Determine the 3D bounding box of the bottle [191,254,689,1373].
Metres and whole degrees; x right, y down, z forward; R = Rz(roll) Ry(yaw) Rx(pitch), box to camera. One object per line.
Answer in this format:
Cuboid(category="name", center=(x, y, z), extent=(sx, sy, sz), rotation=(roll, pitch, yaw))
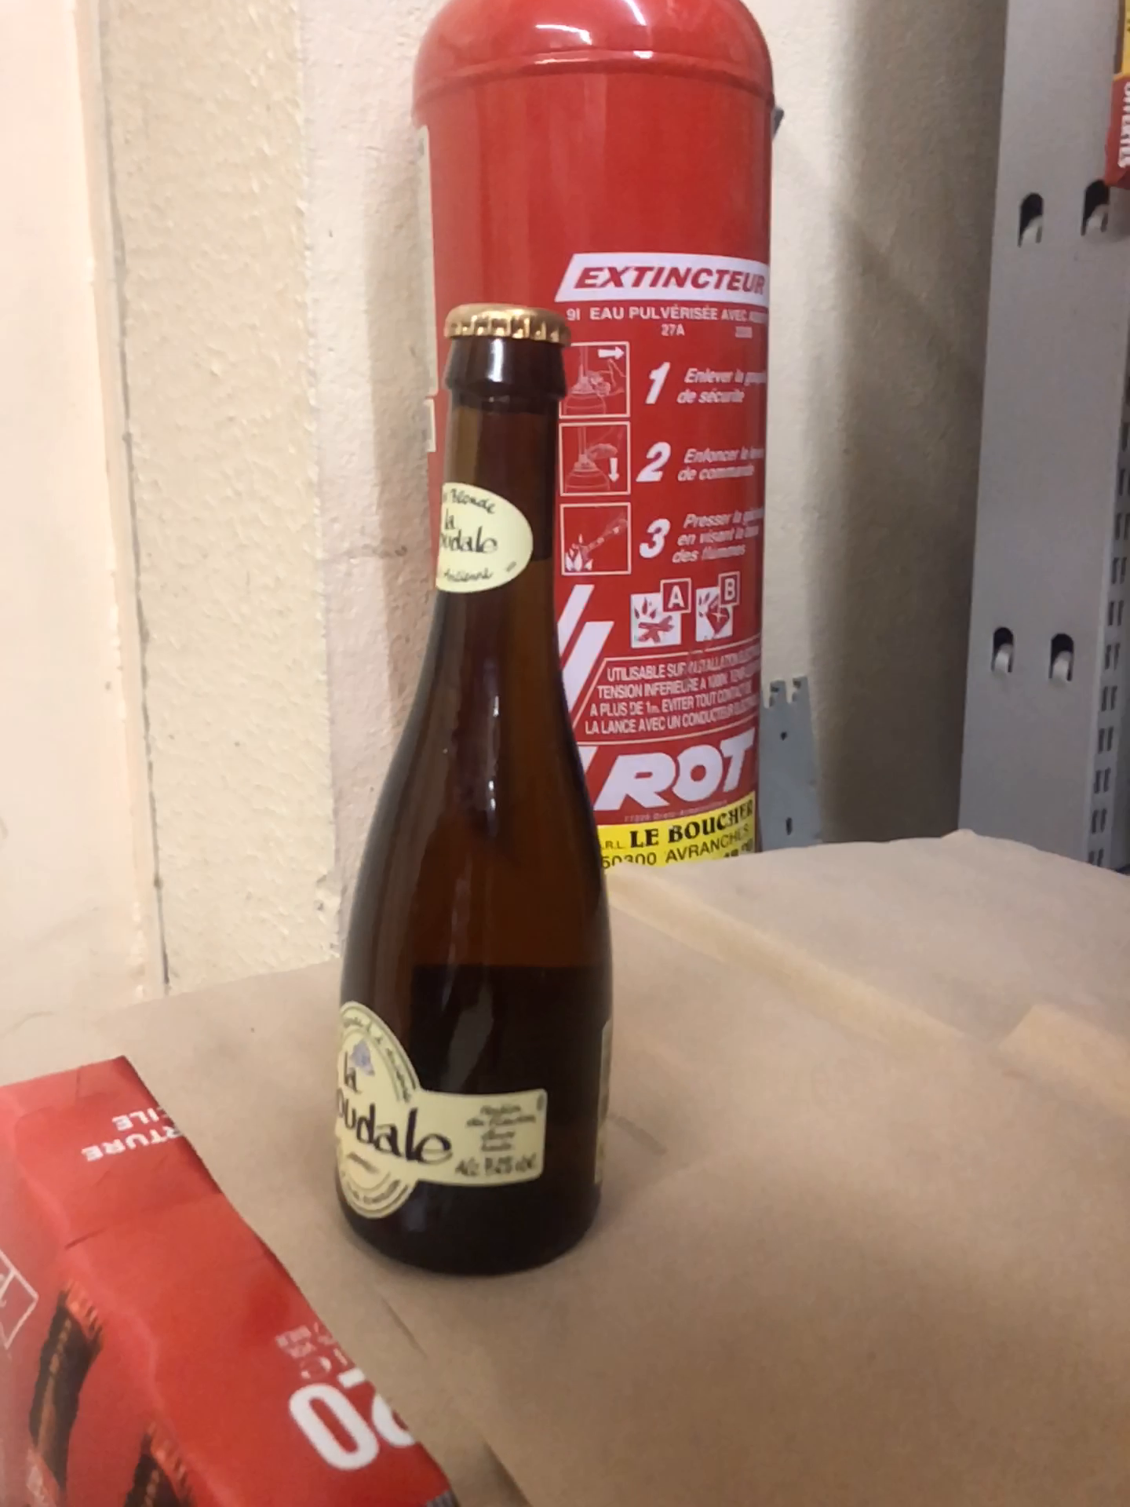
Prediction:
Cuboid(category="bottle", center=(-0.028, 0.010, 0.286), extent=(0.080, 0.219, 0.070), rotation=(13, 17, 43))
